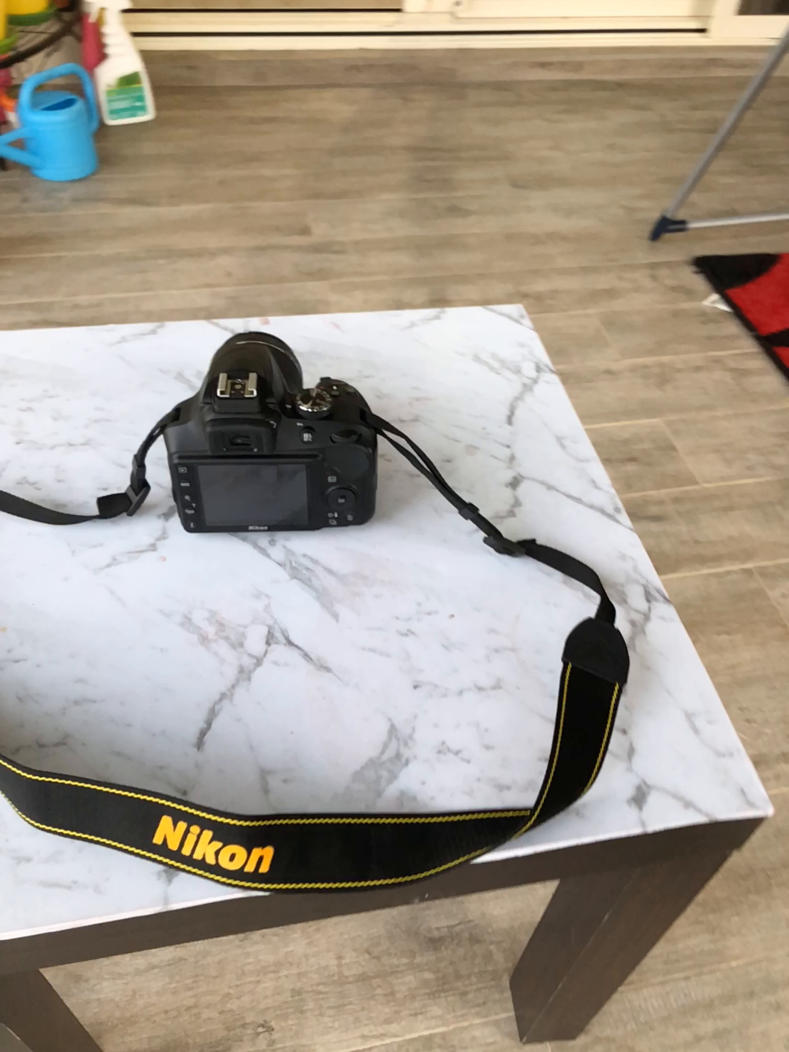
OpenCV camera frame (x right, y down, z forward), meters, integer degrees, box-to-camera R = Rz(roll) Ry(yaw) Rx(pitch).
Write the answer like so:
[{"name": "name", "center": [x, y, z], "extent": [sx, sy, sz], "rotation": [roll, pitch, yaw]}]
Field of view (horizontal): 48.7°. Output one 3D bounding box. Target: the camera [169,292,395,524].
[{"name": "camera", "center": [-0.068, -0.077, 0.545], "extent": [0.121, 0.076, 0.138], "rotation": [-1, 44, -5]}]
